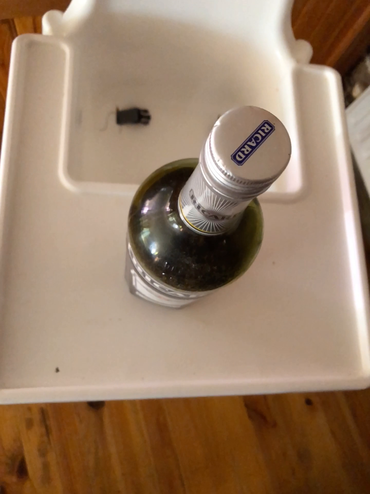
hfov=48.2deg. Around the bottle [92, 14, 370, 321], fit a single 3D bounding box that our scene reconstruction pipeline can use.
[{"bbox_3d":[-0.003,-0.005,0.294,0.090,0.299,0.070,19,74,-5],"label":"bottle"}]
